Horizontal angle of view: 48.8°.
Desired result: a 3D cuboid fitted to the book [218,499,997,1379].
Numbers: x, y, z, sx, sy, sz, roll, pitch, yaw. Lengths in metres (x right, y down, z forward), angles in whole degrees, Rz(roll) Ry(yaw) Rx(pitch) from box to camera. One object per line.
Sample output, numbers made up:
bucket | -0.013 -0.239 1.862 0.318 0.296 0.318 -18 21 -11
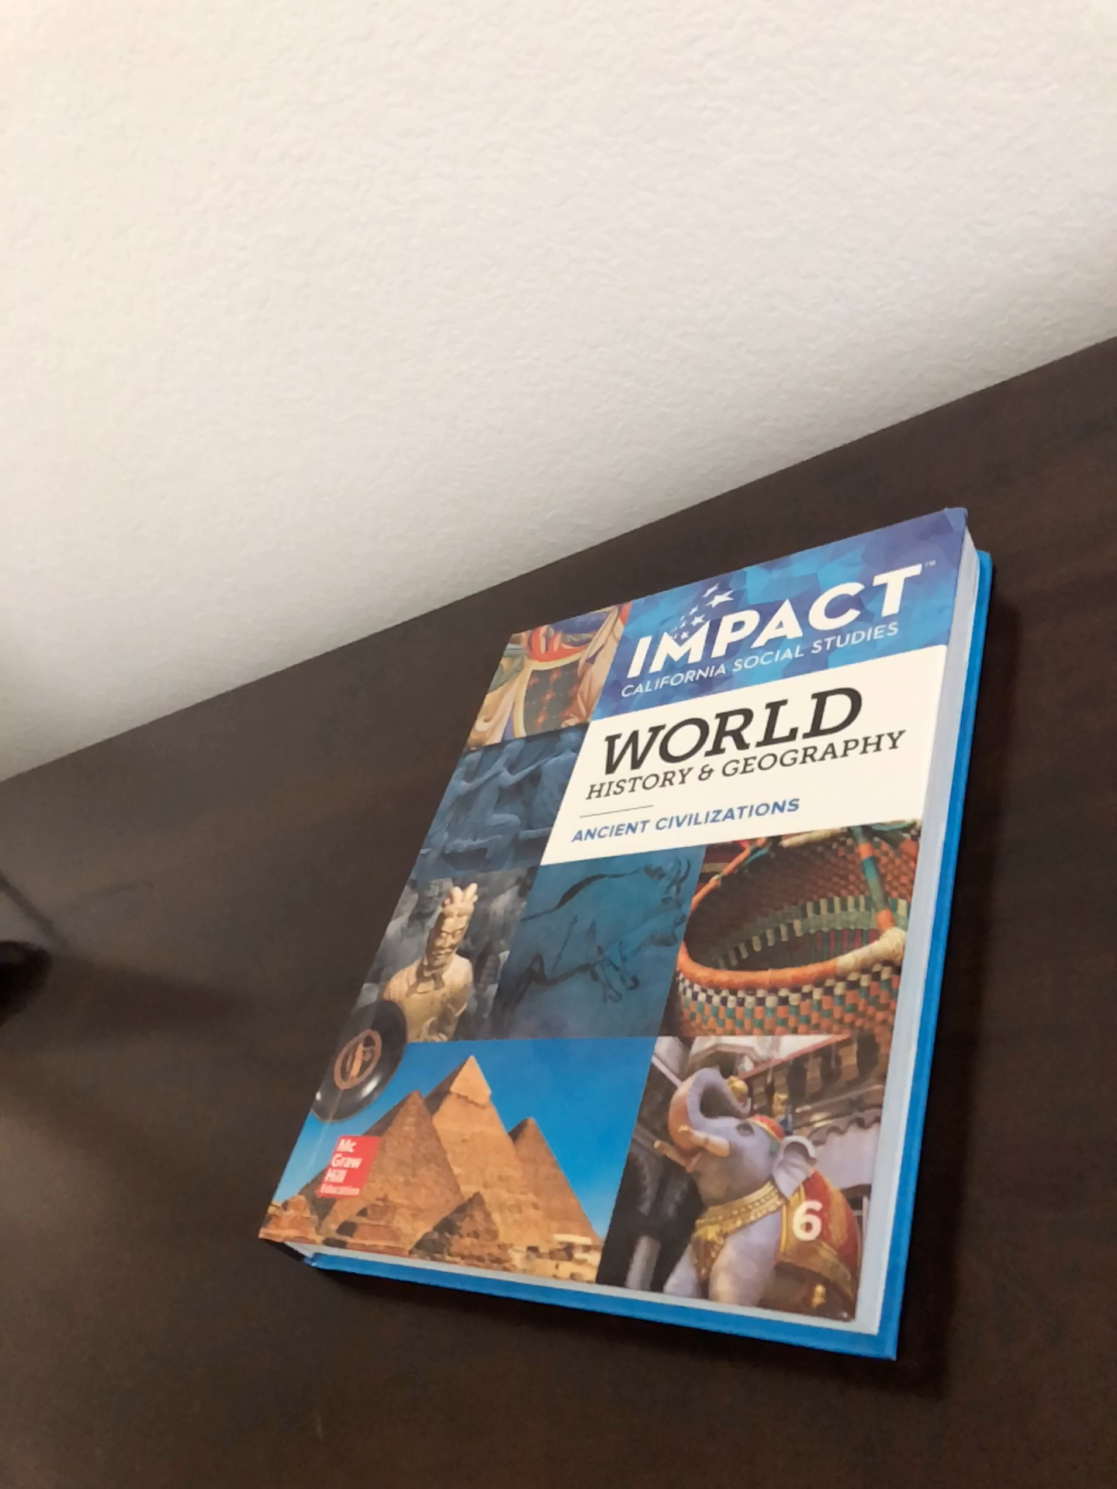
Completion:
book | 0.023 0.048 0.435 0.227 0.030 0.285 -11 44 38
